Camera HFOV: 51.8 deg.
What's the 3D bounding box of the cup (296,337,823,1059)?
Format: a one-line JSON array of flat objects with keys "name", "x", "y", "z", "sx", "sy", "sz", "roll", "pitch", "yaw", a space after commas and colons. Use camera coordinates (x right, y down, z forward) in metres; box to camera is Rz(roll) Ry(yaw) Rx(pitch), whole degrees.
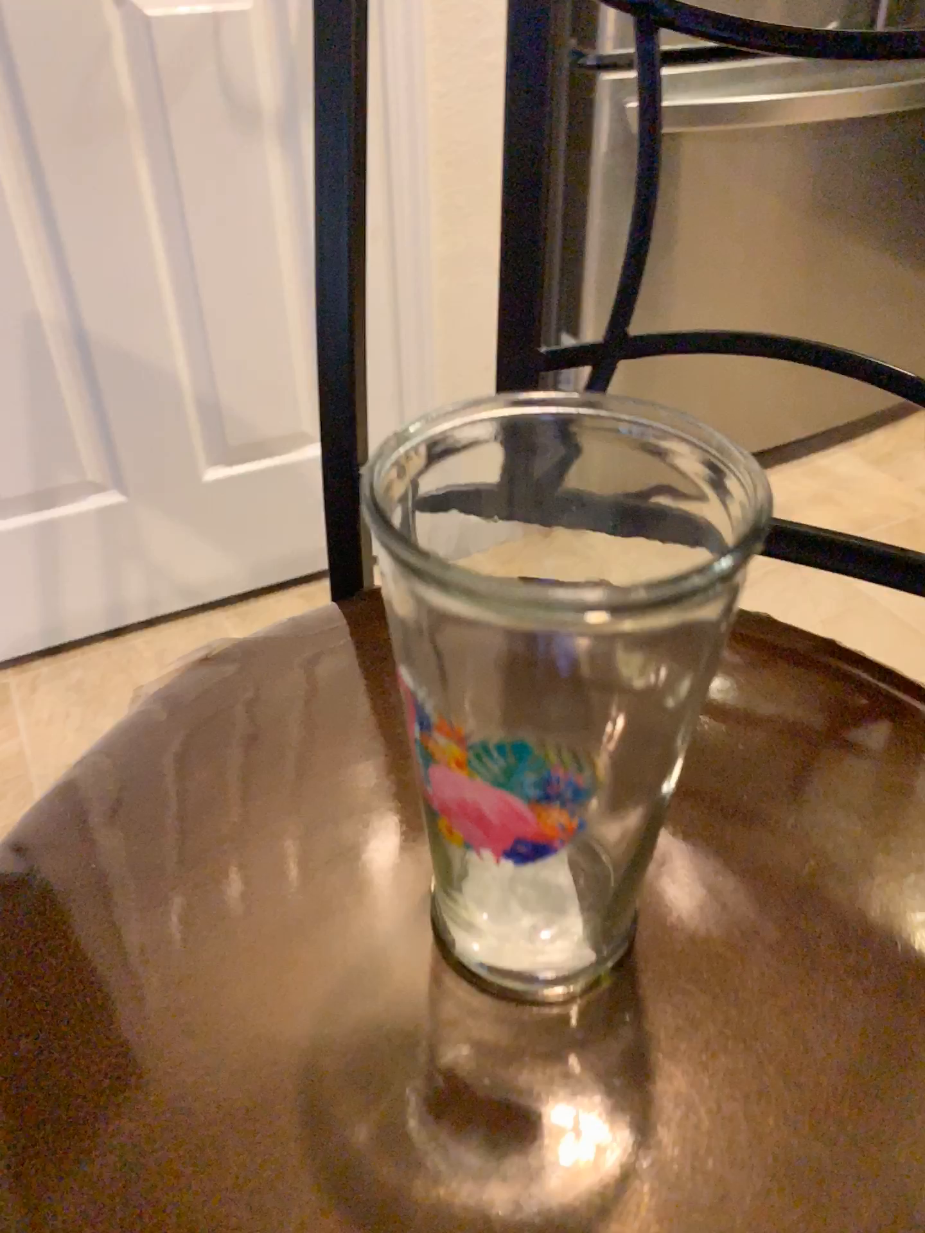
[{"name": "cup", "x": 0.022, "y": 0.022, "z": 0.247, "sx": 0.080, "sy": 0.149, "sz": 0.080, "roll": 0, "pitch": 38, "yaw": 0}]
